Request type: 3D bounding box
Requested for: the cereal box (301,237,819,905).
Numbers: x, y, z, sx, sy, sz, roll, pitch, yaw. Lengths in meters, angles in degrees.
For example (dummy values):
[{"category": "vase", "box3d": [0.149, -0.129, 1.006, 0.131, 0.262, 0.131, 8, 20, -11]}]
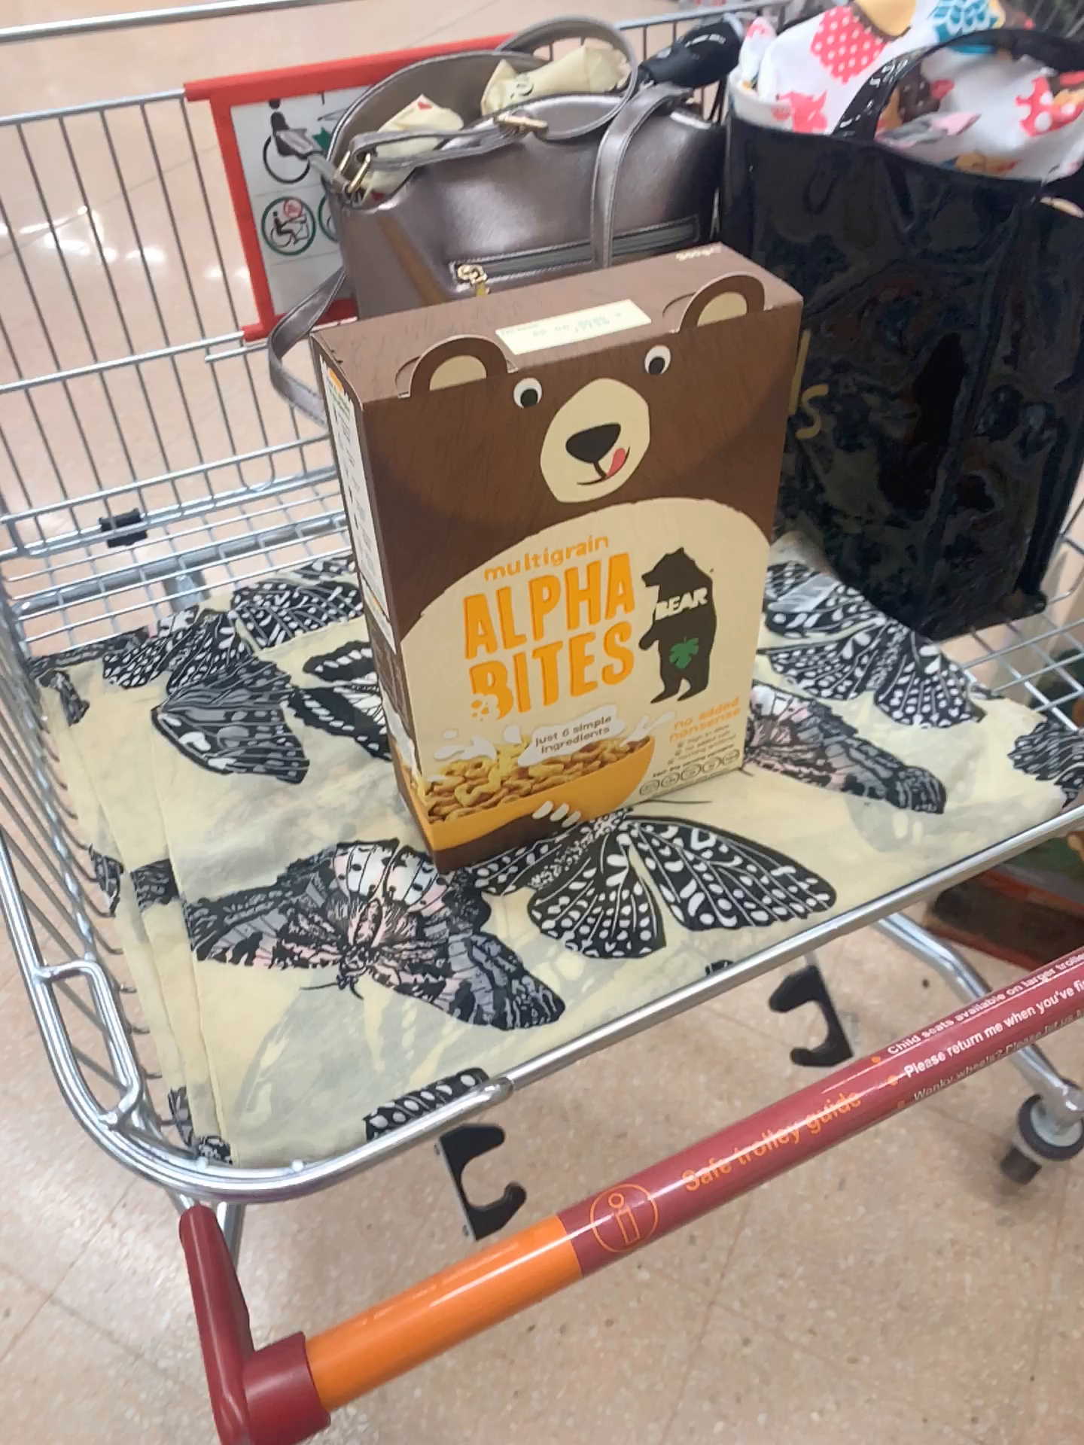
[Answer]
[{"category": "cereal box", "box3d": [0.011, -0.061, 0.553, 0.200, 0.297, 0.071, -18, 46, -17]}]
